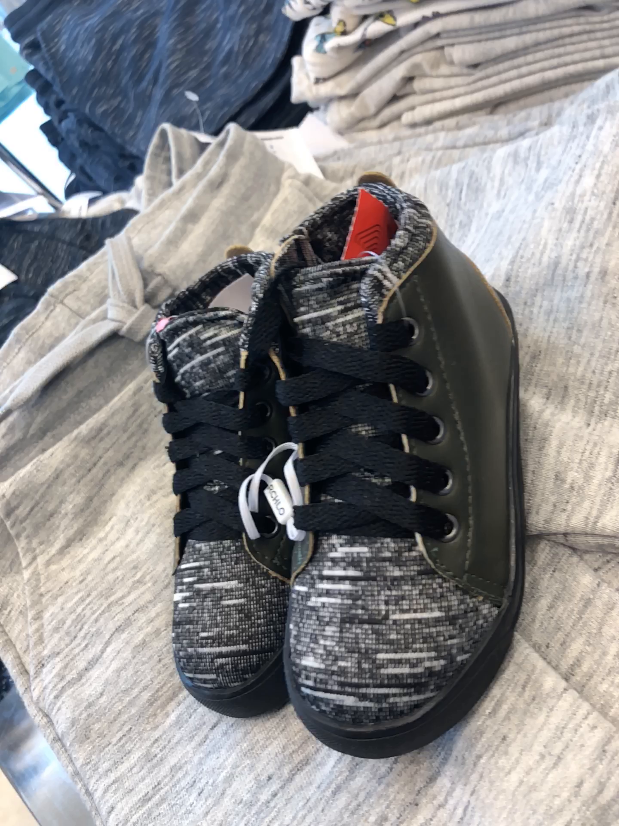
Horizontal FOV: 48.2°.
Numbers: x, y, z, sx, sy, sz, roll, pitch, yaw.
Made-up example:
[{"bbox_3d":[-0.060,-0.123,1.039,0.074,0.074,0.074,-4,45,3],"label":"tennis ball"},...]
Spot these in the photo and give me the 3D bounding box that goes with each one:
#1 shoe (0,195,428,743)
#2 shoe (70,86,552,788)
[{"bbox_3d":[-0.024,0.018,0.255,0.080,0.089,0.160,-5,56,34],"label":"shoe"},{"bbox_3d":[0.019,0.005,0.210,0.080,0.089,0.171,-7,54,32],"label":"shoe"}]
